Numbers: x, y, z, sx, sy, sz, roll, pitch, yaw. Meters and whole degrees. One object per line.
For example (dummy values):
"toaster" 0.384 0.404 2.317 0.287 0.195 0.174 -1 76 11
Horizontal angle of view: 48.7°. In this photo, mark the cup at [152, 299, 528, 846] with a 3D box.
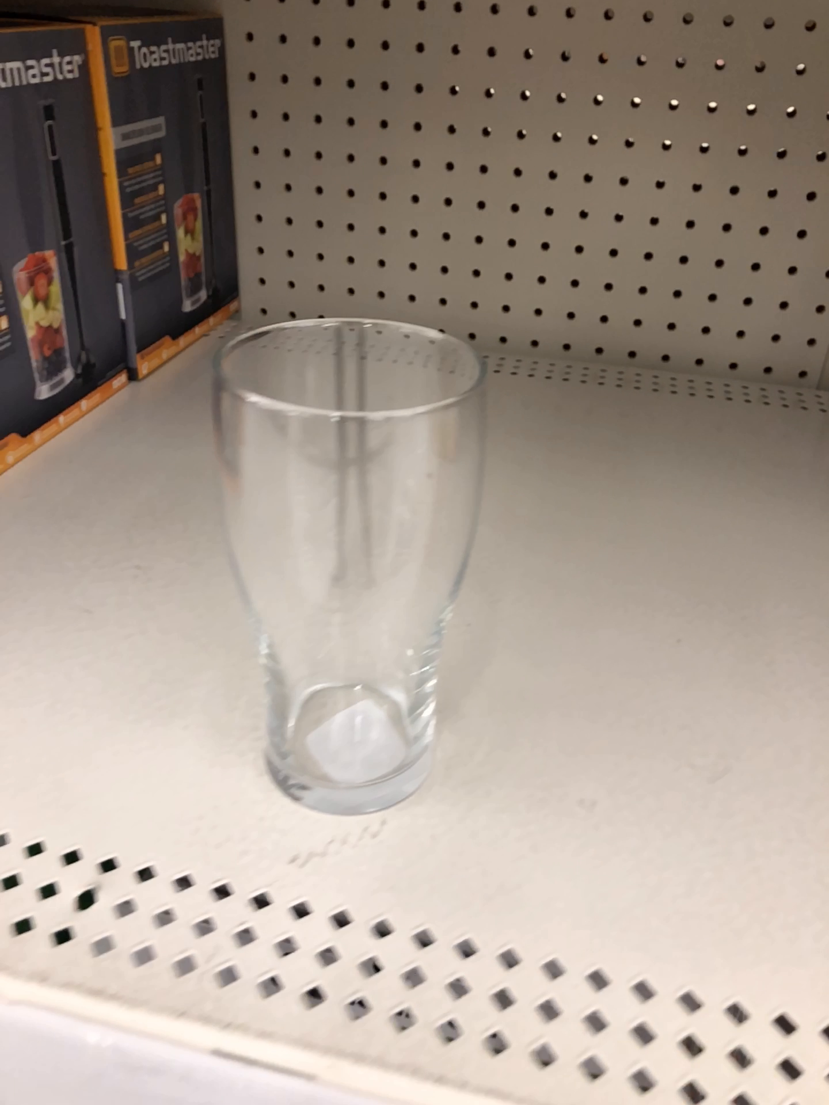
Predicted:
"cup" -0.019 0.004 0.293 0.076 0.138 0.081 2 31 -1
